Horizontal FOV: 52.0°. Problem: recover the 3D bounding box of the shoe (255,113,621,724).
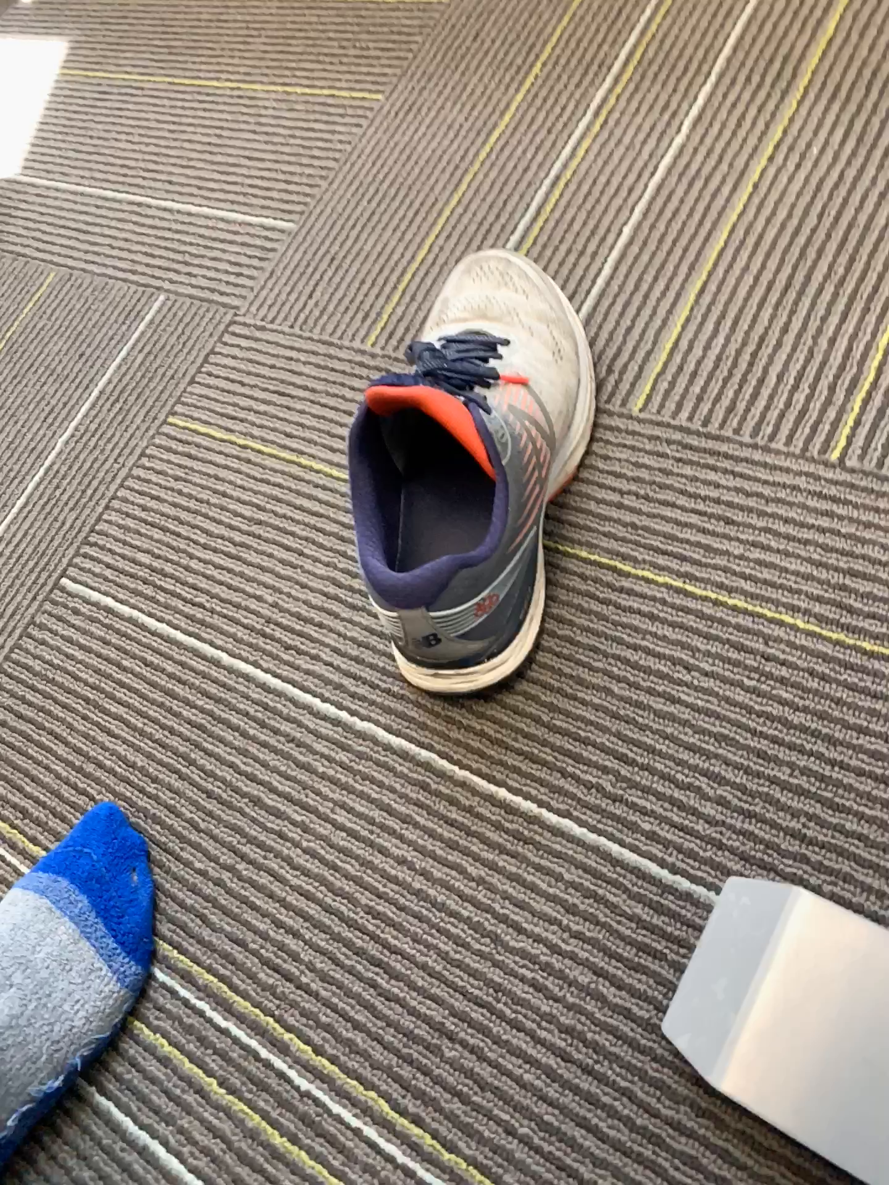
[{"bbox_3d":[0.013,-0.095,0.491,0.110,0.110,0.301,2,66,23],"label":"shoe"}]
